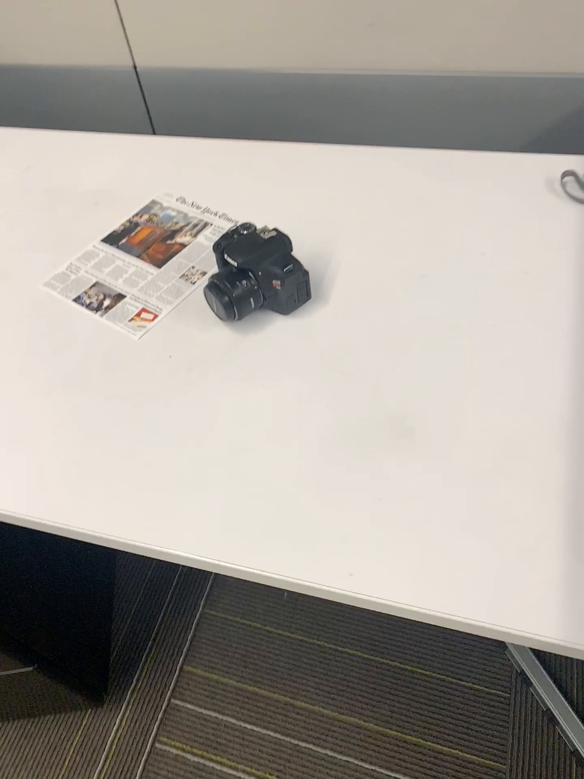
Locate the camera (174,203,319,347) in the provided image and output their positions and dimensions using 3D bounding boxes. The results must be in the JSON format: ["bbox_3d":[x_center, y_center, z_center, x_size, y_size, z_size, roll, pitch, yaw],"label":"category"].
[{"bbox_3d":[-0.057,-0.153,0.782,0.119,0.090,0.137,-37,56,-20],"label":"camera"}]
